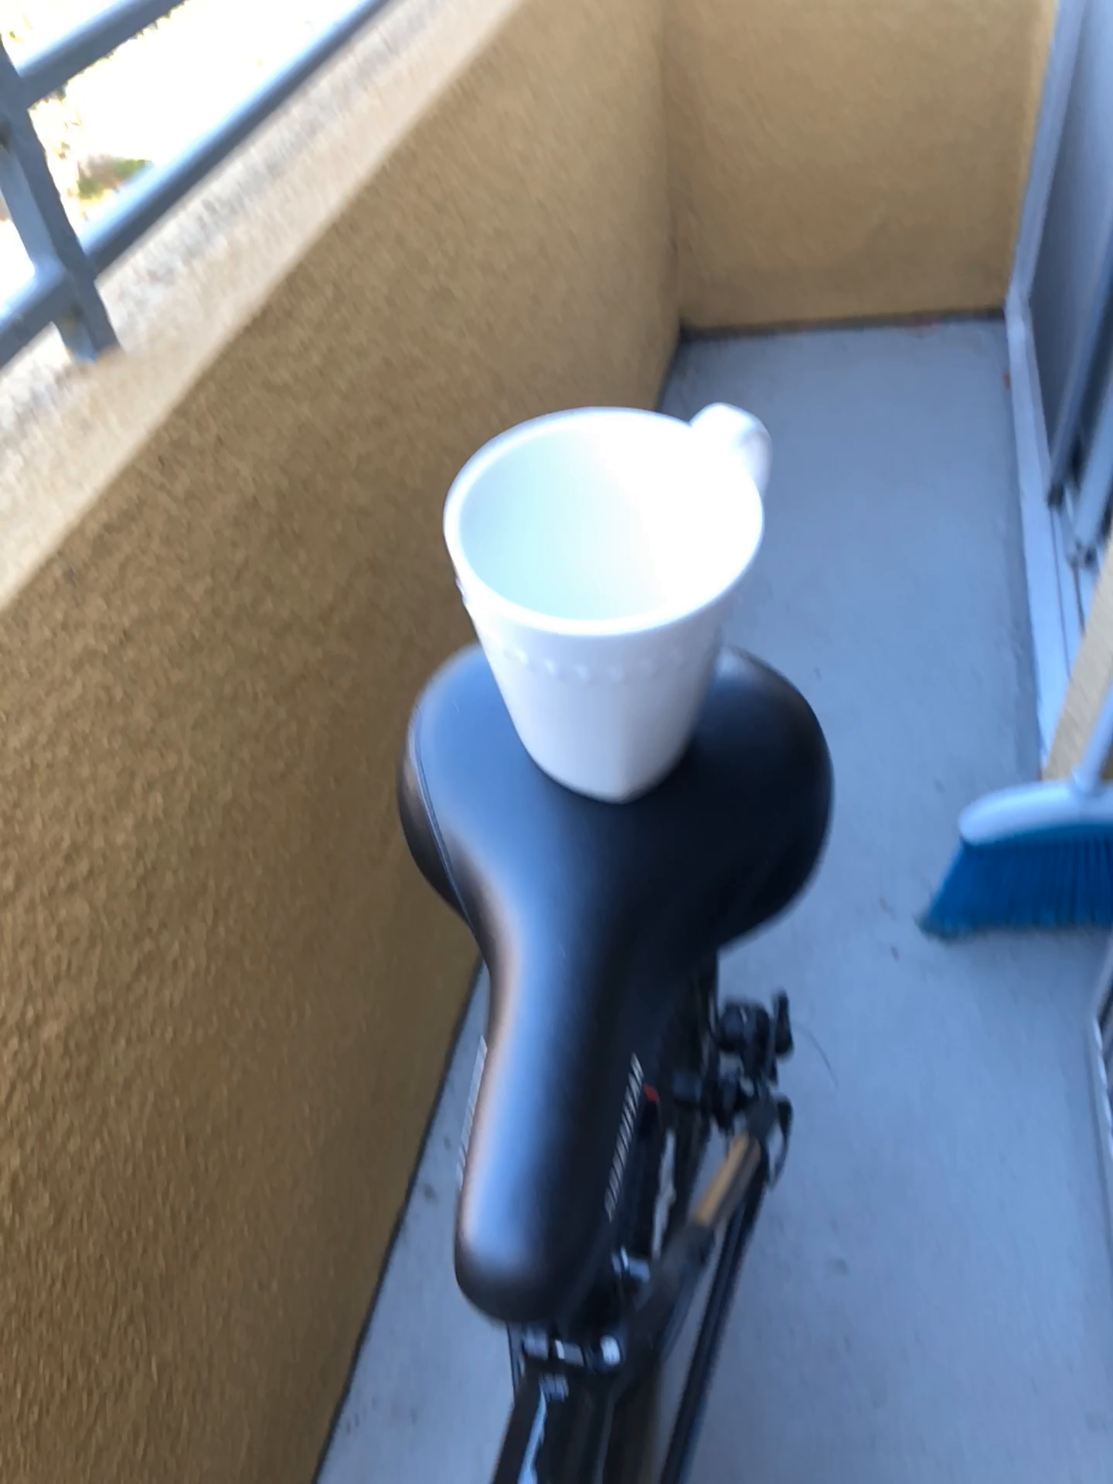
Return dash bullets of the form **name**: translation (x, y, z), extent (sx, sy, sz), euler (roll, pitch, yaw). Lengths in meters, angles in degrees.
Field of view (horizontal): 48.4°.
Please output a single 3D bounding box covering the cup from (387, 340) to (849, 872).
- **cup**: translation (0.026, -0.050, 0.408), extent (0.090, 0.100, 0.130), euler (18, 49, 23)
